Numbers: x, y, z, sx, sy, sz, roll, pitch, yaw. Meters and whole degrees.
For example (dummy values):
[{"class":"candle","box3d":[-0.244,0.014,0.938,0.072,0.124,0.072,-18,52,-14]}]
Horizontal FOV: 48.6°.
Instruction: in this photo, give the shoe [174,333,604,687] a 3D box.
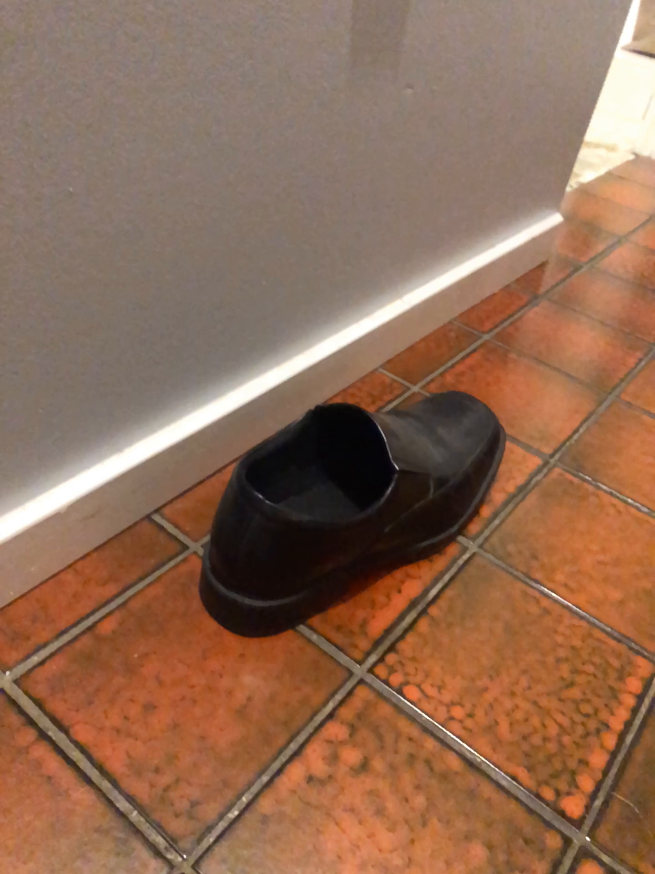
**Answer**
[{"class":"shoe","box3d":[0.052,0.032,0.528,0.301,0.100,0.120,-23,49,-35]}]
